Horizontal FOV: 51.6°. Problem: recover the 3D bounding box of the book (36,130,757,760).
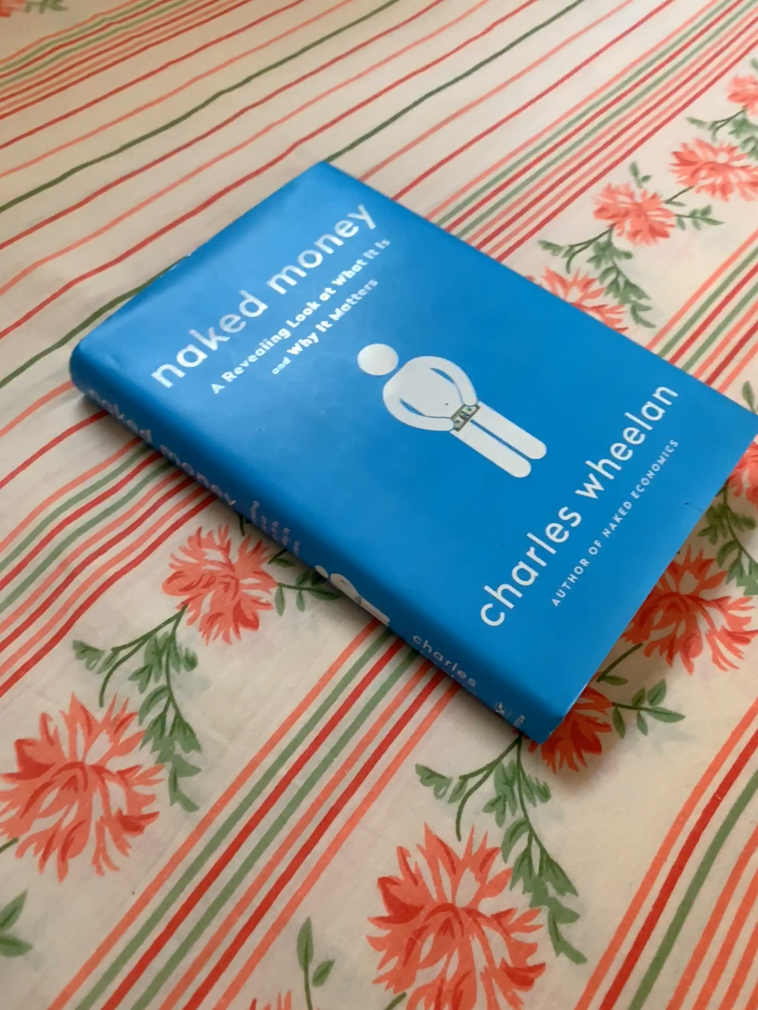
[{"bbox_3d":[0.014,-0.047,0.327,0.250,0.040,0.171,35,63,17],"label":"book"}]
